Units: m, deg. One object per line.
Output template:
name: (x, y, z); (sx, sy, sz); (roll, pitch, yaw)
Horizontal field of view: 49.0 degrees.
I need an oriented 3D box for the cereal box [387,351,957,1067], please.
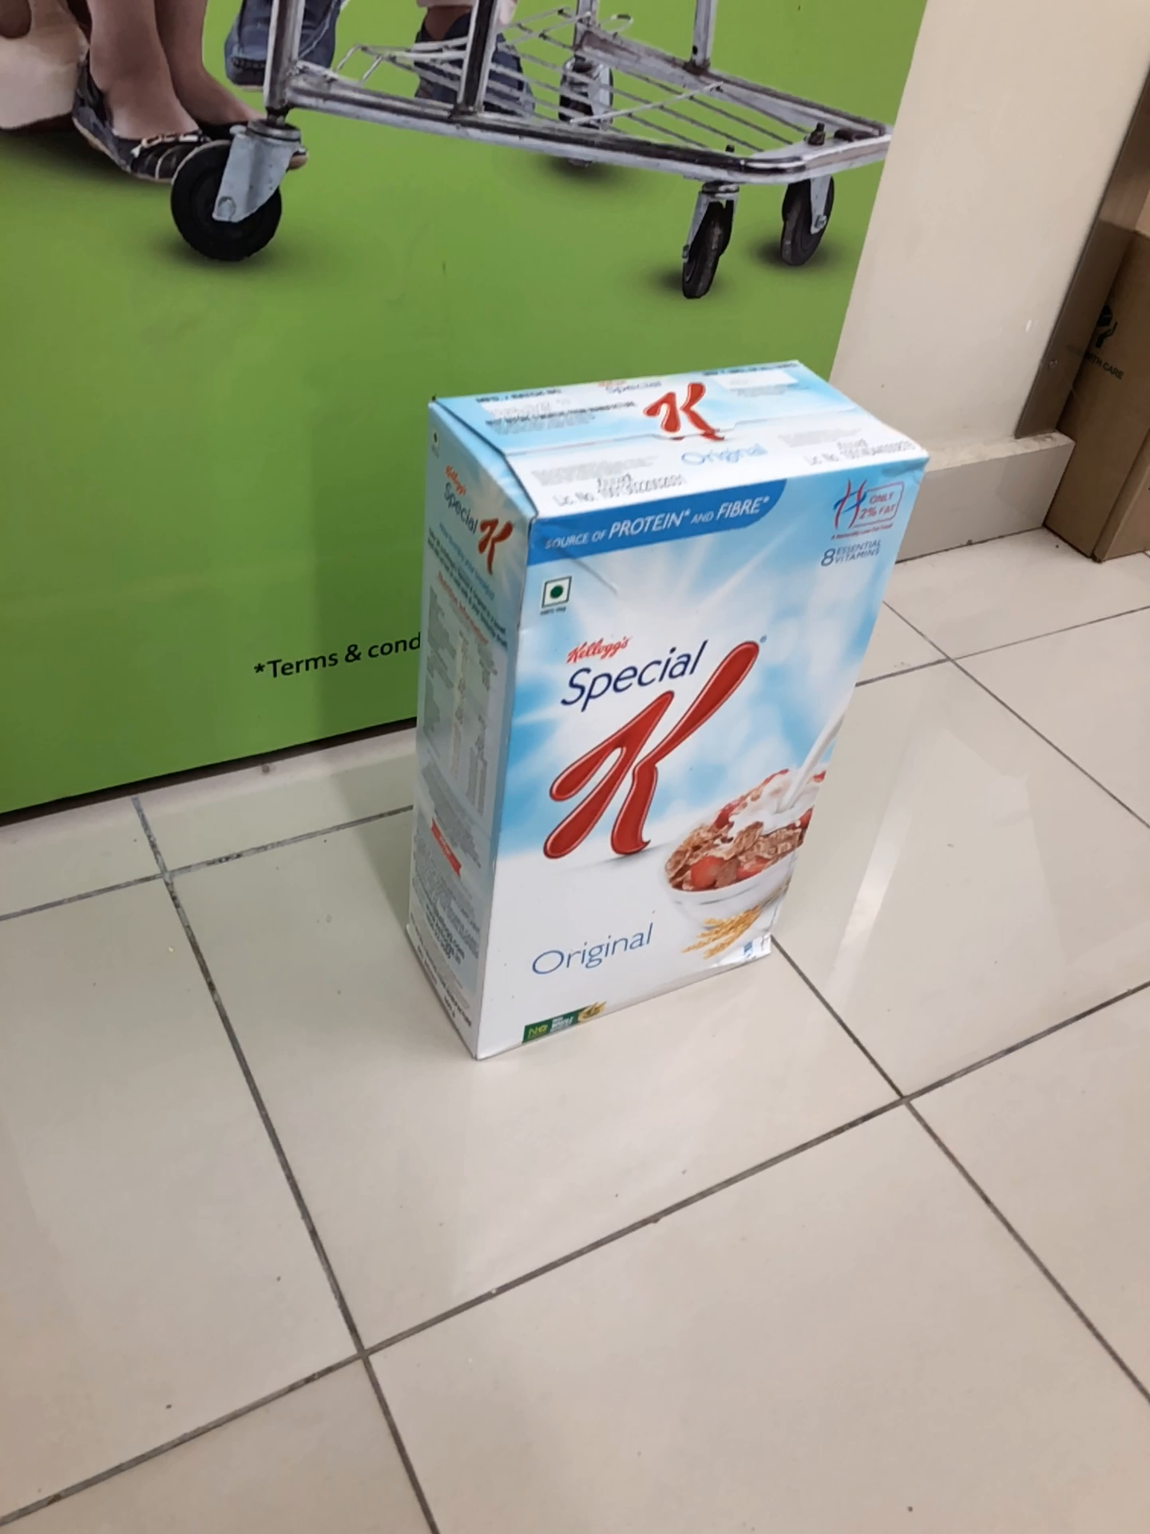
cereal box: (0.027, -0.021, 0.606); (0.201, 0.308, 0.100); (-15, 45, -26)
